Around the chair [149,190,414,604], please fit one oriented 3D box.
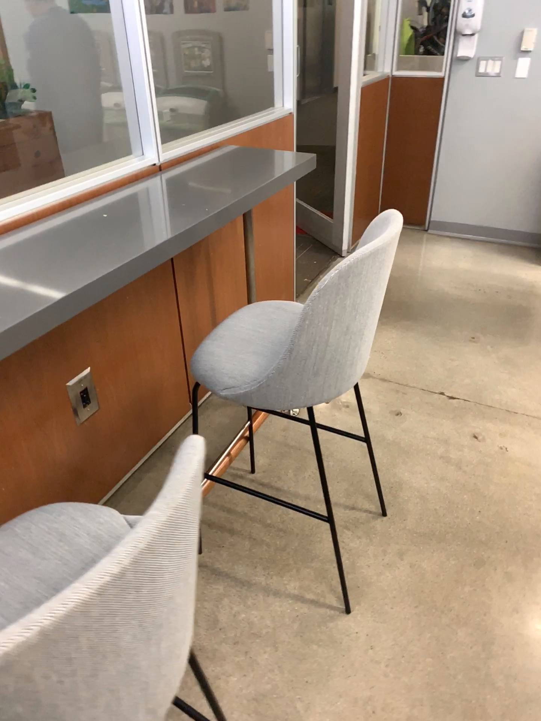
[{"bbox_3d":[0.057,0.118,1.543,0.511,1.034,0.412,9,34,16],"label":"chair"}]
